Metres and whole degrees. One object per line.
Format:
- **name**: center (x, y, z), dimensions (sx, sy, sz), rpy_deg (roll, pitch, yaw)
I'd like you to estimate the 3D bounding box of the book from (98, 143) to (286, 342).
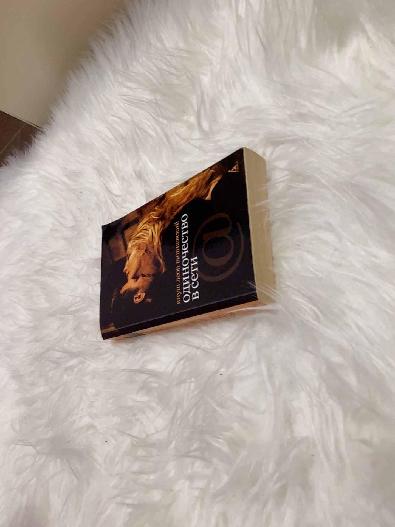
- **book**: center (-0.018, -0.006, 0.336), dimensions (0.177, 0.030, 0.113), rpy_deg (-20, 64, 39)
